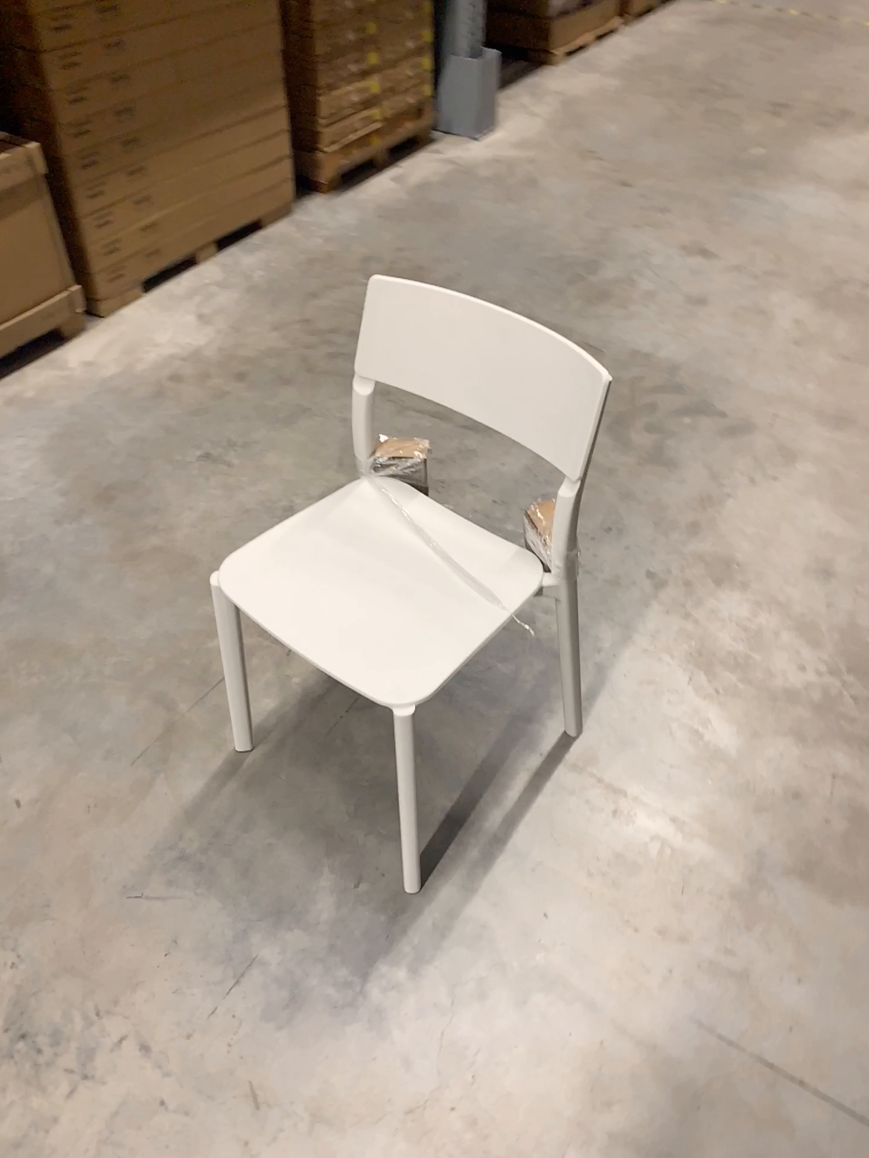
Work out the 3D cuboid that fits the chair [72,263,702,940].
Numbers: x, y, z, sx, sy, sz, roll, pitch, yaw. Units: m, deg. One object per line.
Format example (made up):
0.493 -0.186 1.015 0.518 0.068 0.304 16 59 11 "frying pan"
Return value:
-0.047 0.014 1.255 0.521 0.618 0.531 30 51 26 "chair"
